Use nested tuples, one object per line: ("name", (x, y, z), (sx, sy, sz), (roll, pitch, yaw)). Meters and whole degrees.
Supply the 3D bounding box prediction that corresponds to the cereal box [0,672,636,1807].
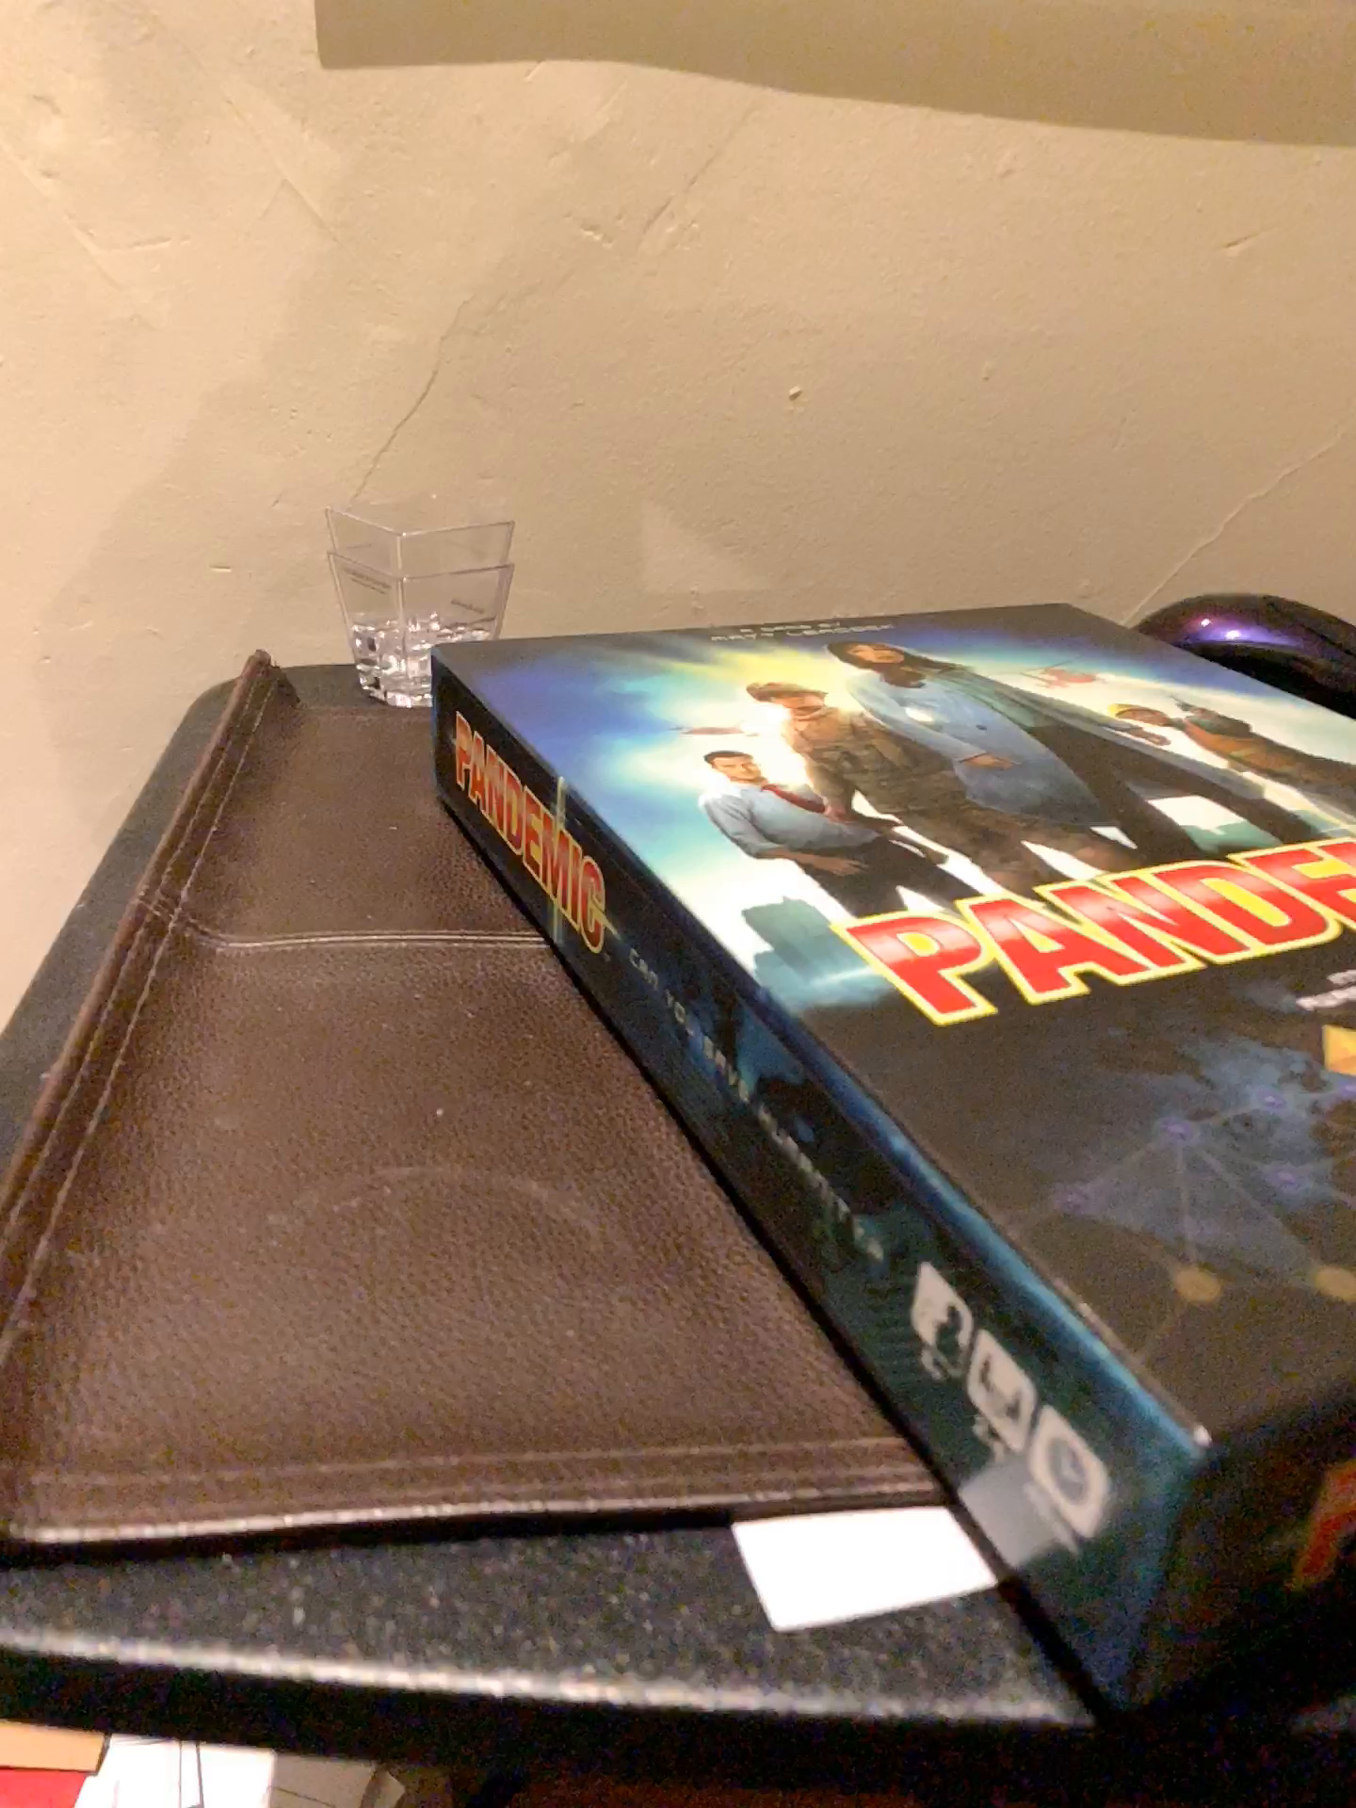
("cereal box", (-0.385, 0.418, 1.033), (0.511, 0.994, 0.471), (19, 31, 30))
